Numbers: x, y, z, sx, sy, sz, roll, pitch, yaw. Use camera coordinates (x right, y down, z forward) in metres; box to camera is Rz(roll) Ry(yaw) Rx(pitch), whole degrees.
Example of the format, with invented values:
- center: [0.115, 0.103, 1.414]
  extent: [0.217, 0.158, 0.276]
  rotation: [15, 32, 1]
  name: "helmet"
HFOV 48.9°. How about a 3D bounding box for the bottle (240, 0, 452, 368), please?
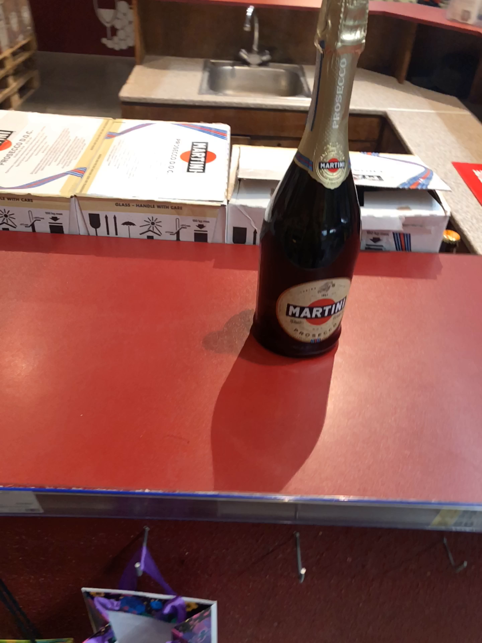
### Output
- center: [0.065, -0.107, 0.448]
  extent: [0.099, 0.302, 0.090]
  rotation: [-6, 40, -12]
  name: "bottle"
